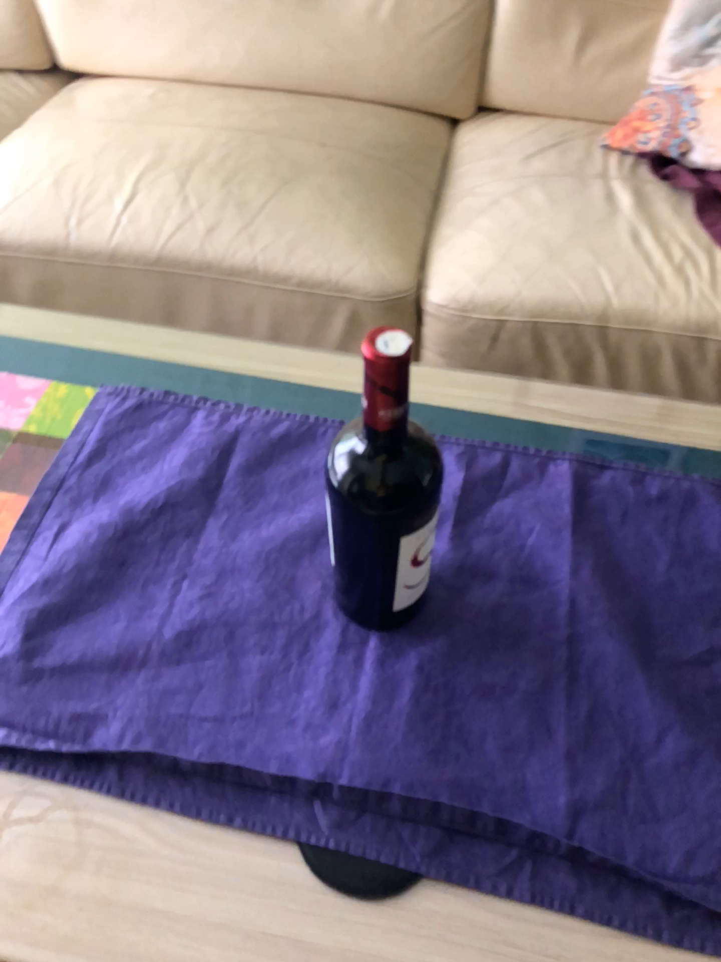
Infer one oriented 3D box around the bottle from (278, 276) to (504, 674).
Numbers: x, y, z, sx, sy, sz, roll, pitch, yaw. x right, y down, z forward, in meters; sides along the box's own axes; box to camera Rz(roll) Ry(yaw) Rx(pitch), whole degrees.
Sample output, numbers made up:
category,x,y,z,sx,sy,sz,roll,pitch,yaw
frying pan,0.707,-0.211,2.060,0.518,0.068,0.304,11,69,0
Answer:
category,x,y,z,sx,sy,sz,roll,pitch,yaw
bottle,0.017,0.013,0.521,0.090,0.269,0.090,0,51,0
